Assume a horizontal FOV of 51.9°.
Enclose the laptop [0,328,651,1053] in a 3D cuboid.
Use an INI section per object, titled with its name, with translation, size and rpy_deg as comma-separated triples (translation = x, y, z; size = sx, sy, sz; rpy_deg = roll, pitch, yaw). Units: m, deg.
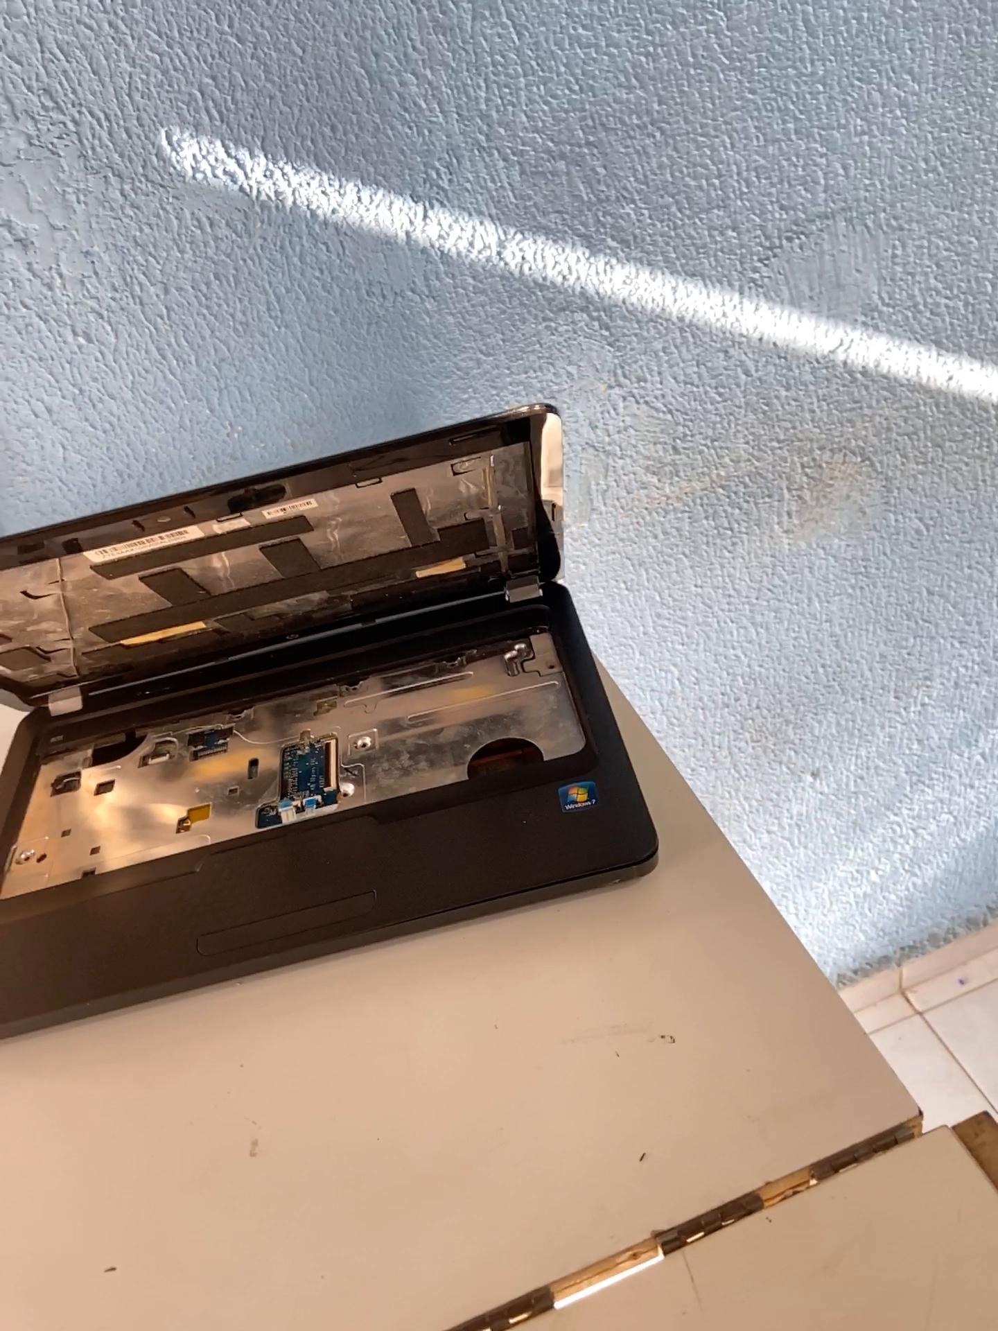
[laptop]
translation = -0.126, -0.005, 0.472
size = 0.326, 0.153, 0.223
rpy_deg = -14, 36, 0
